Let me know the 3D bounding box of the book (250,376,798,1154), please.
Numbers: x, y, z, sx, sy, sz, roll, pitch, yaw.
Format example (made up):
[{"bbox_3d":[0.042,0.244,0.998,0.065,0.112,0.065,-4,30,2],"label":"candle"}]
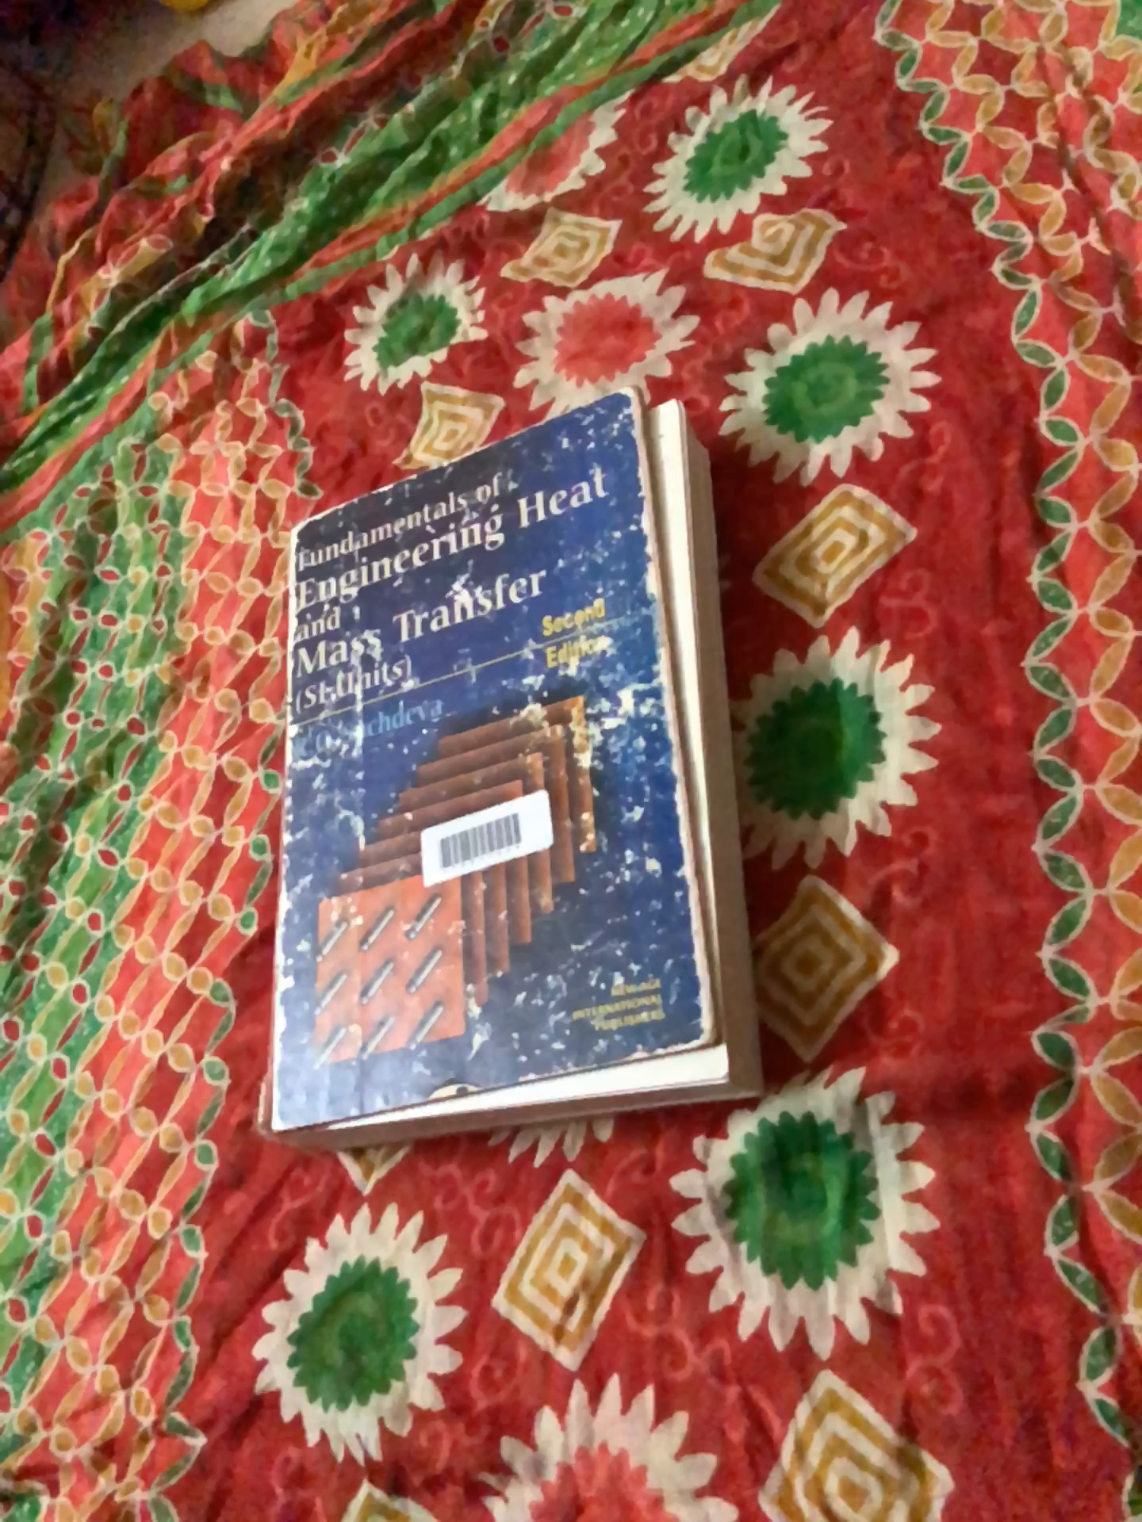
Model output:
[{"bbox_3d":[-0.021,0.004,0.389,0.150,0.043,0.209,-14,64,26],"label":"book"}]
